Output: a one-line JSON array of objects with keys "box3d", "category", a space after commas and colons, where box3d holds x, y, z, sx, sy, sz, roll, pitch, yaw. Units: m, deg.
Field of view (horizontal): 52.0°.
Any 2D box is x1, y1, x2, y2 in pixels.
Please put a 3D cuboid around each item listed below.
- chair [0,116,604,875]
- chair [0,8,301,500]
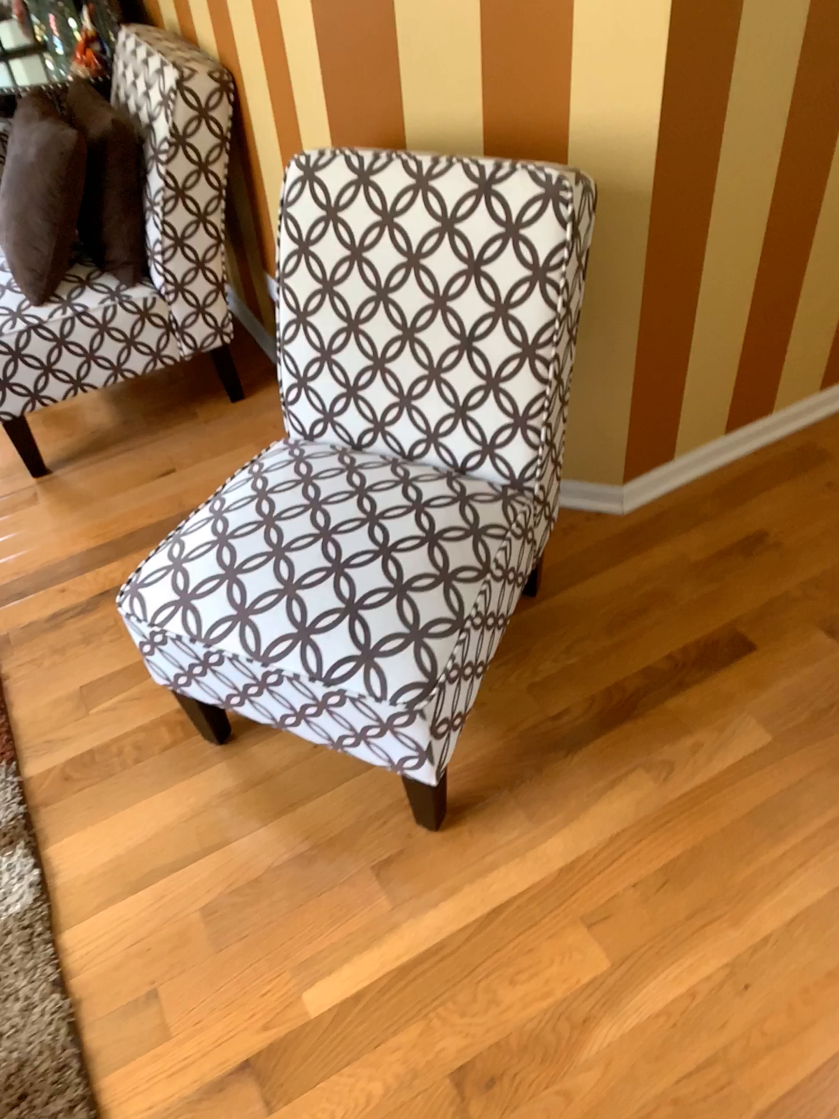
[{"box3d": [-0.148, -0.141, 1.338, 0.622, 0.774, 0.740, 16, 48, 24], "category": "chair"}, {"box3d": [-0.851, -0.774, 2.152, 0.797, 0.834, 0.595, -24, 46, -17], "category": "chair"}]
